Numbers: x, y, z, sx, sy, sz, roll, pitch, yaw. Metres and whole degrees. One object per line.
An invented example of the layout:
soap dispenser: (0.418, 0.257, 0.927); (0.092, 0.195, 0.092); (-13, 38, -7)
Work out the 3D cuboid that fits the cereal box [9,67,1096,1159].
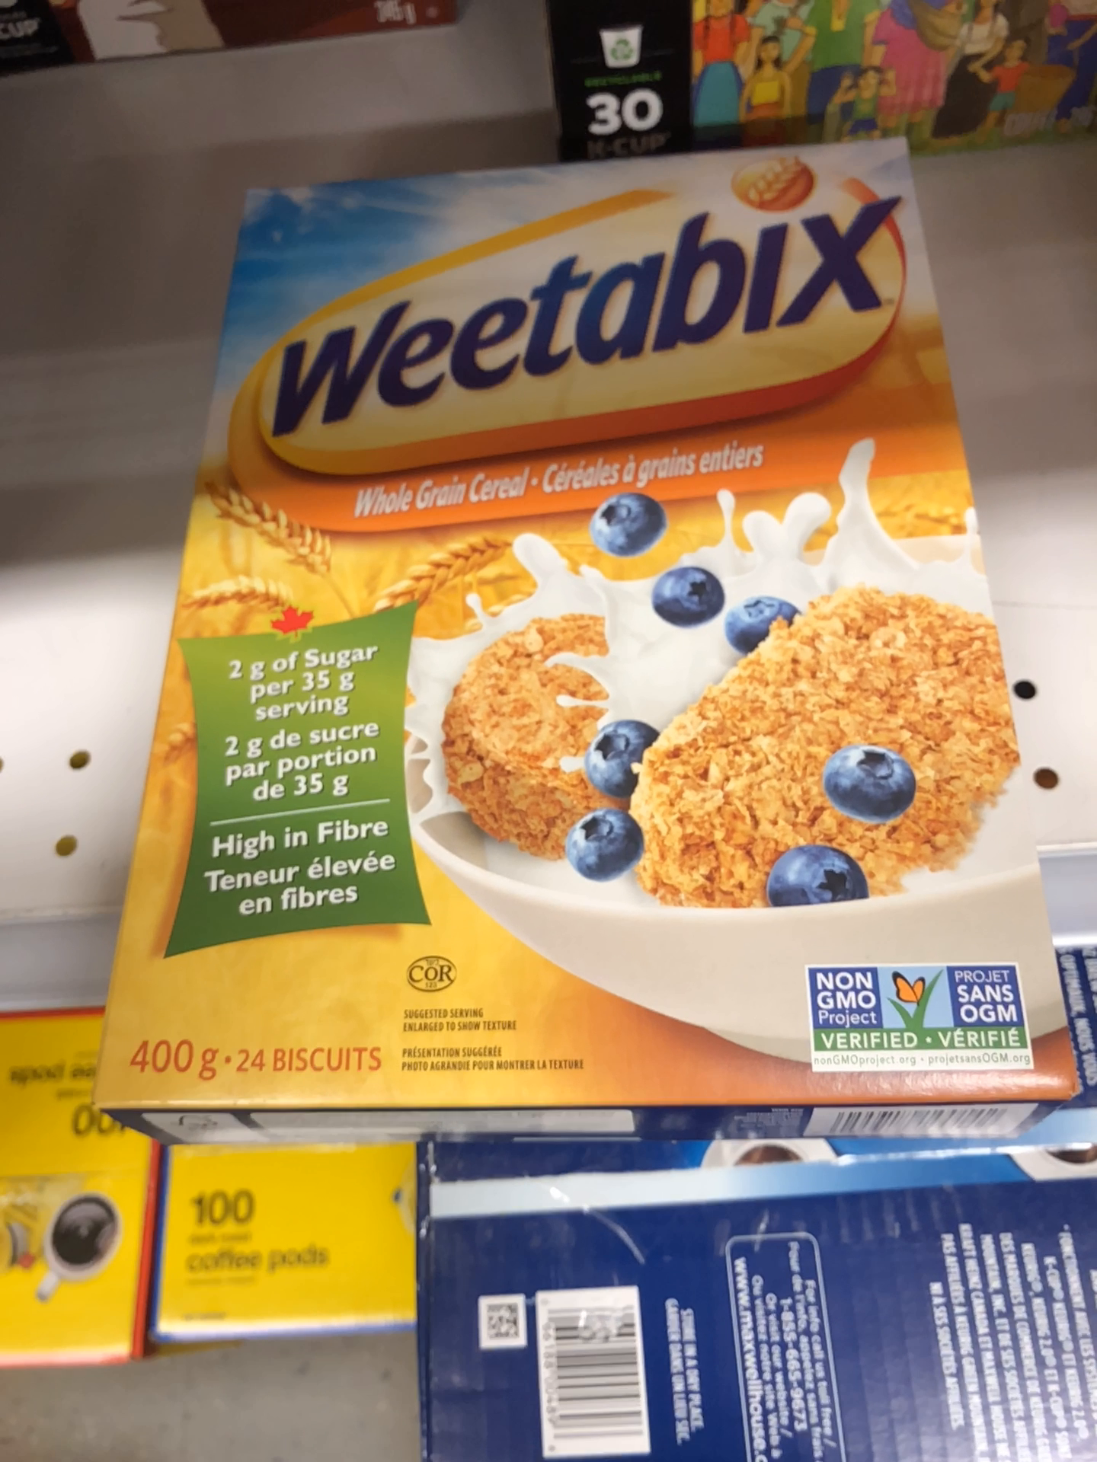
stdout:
cereal box: (0.006, -0.047, 0.317); (0.210, 0.050, 0.290); (-2, 61, 5)
